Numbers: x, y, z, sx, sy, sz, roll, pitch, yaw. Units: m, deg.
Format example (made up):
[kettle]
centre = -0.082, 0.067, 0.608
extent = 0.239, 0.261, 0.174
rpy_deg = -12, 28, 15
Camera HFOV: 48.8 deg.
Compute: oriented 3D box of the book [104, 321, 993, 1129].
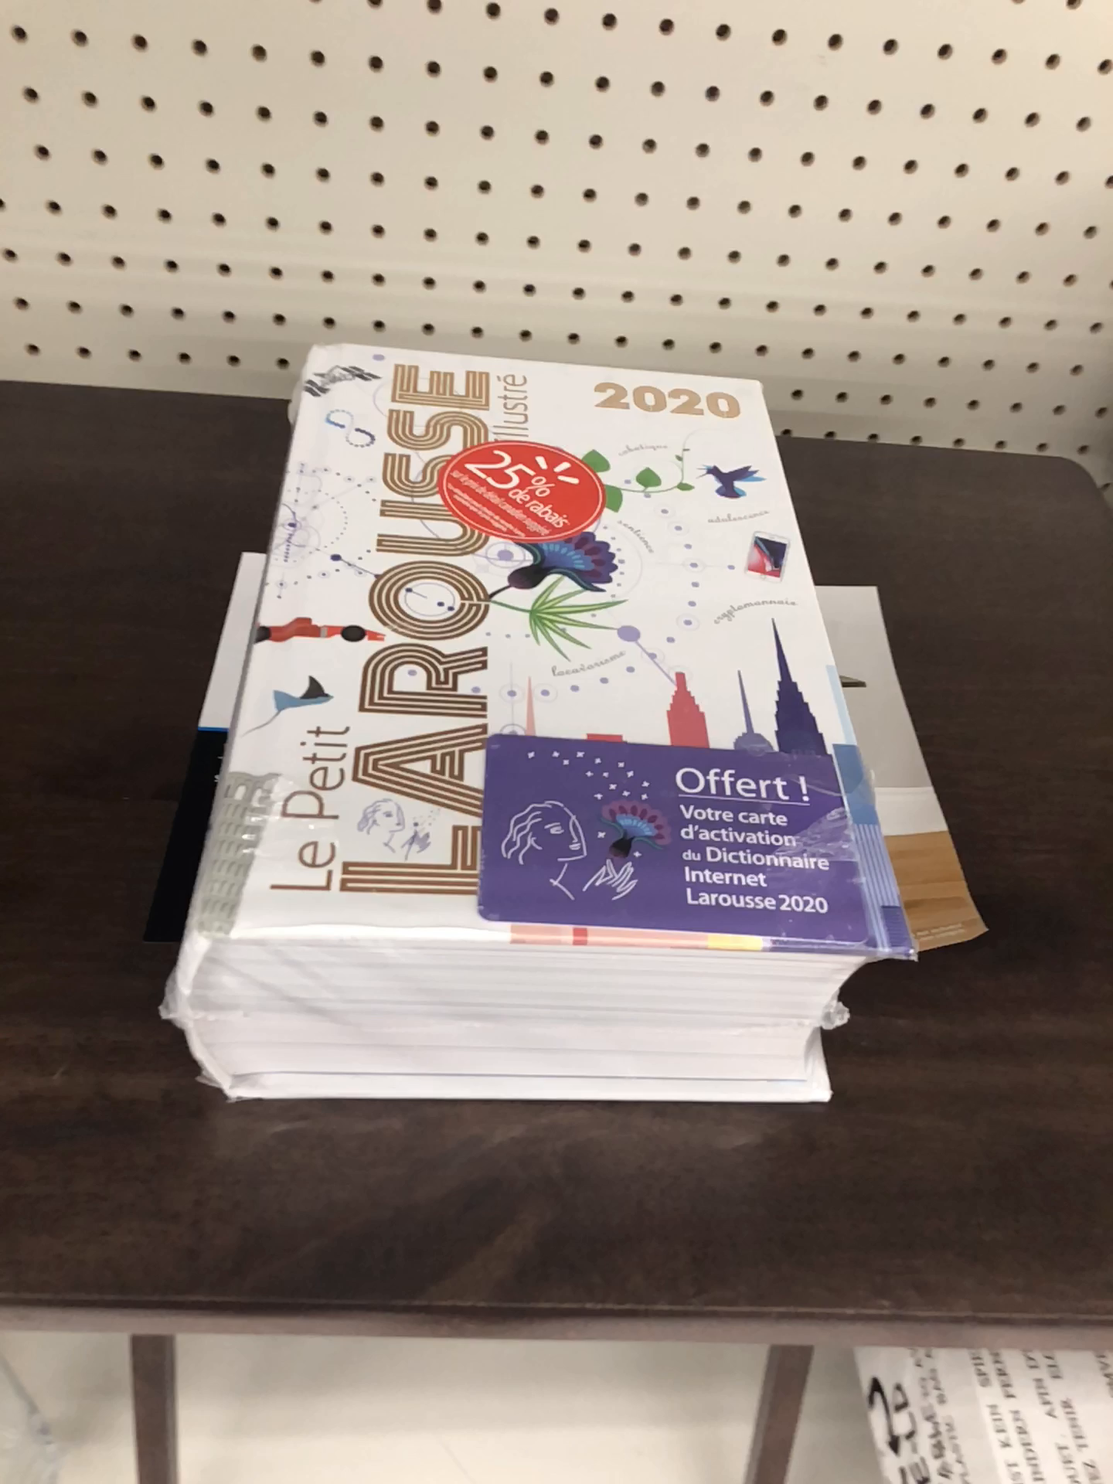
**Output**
[book]
centre = -0.006, -0.020, 0.337
extent = 0.170, 0.069, 0.232
rpy_deg = 2, 47, -6
